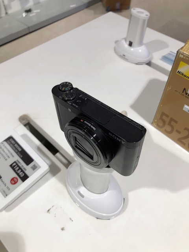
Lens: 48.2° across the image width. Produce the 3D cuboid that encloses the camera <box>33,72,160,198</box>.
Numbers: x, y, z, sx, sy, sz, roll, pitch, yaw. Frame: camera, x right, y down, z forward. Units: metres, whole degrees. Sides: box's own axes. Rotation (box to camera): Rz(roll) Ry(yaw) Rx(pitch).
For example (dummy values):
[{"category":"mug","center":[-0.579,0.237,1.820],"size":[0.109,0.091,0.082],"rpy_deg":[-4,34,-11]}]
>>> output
[{"category":"camera","center":[-0.003,0.007,0.198],"size":[0.110,0.070,0.030],"rpy_deg":[35,59,24]}]
